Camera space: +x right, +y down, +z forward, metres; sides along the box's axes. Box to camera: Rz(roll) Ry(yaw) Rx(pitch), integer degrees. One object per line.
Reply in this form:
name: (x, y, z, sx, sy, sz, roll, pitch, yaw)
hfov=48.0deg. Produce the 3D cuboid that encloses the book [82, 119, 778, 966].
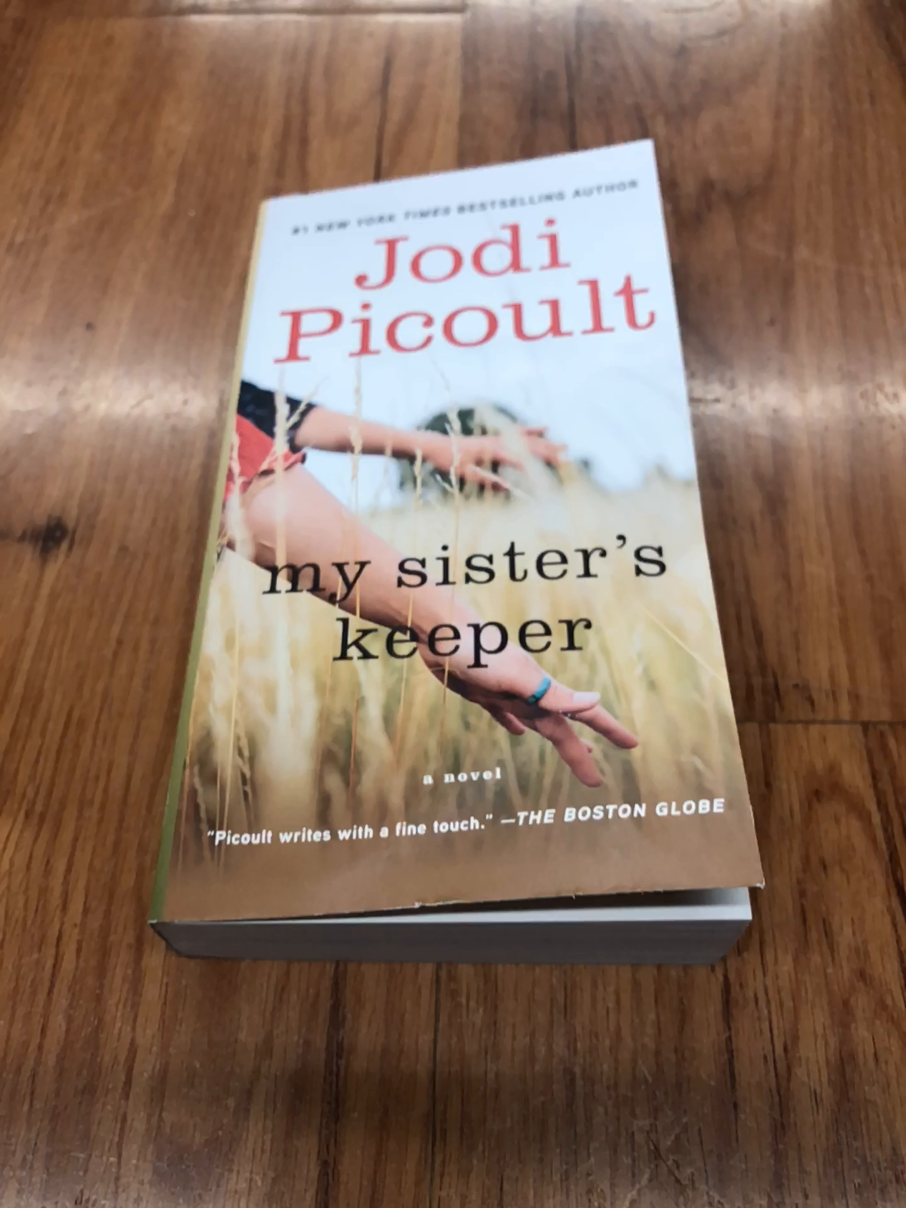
book: (-0.001, -0.024, 0.224, 0.110, 0.040, 0.191, -3, 59, 7)
